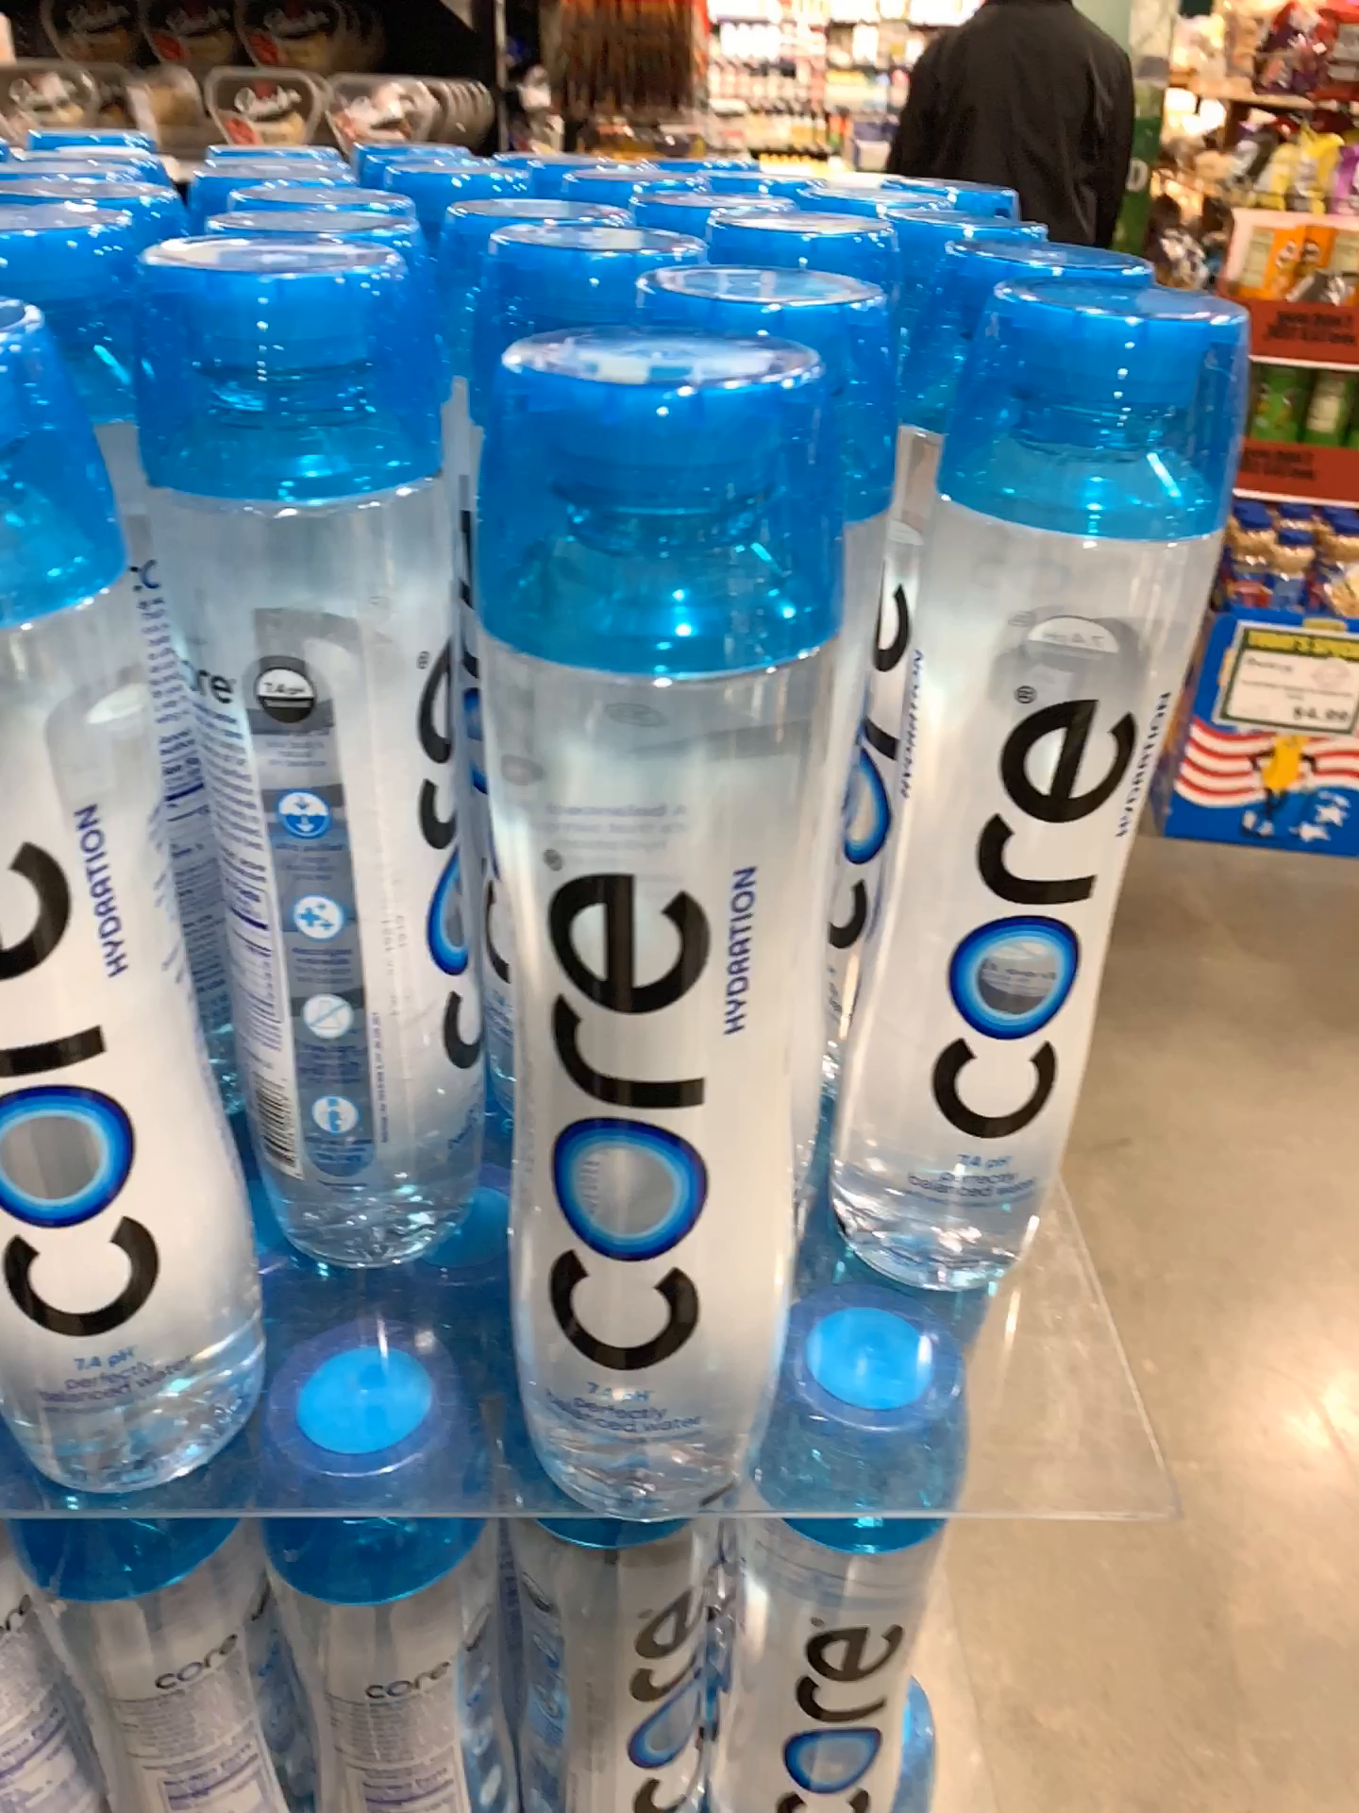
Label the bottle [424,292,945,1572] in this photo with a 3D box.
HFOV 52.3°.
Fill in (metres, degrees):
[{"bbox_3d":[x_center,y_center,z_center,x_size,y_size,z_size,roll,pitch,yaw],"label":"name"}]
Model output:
[{"bbox_3d":[0.000,0.021,0.324,0.080,0.288,0.090,5,31,5],"label":"bottle"}]
